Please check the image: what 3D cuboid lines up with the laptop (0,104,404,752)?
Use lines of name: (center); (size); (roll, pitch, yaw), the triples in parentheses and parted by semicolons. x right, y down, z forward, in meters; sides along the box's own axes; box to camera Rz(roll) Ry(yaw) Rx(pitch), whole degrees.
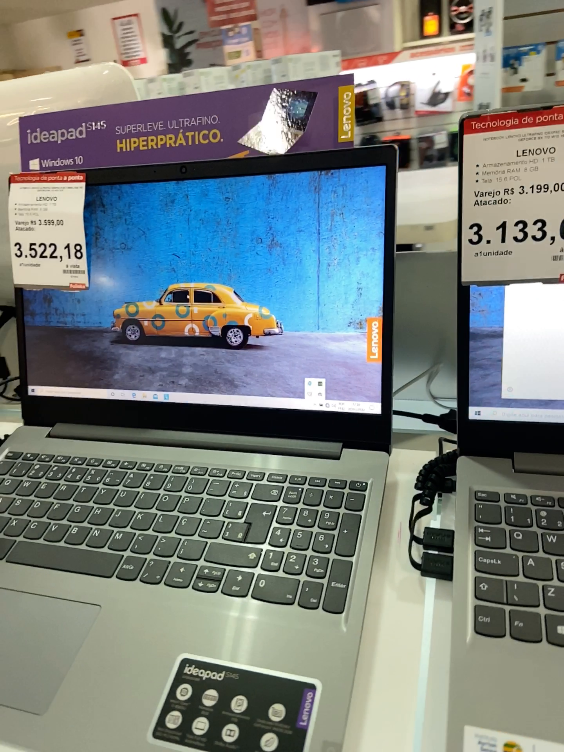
laptop: (-0.115, -0.006, 0.407); (0.346, 0.209, 0.366); (1, 35, 19)
